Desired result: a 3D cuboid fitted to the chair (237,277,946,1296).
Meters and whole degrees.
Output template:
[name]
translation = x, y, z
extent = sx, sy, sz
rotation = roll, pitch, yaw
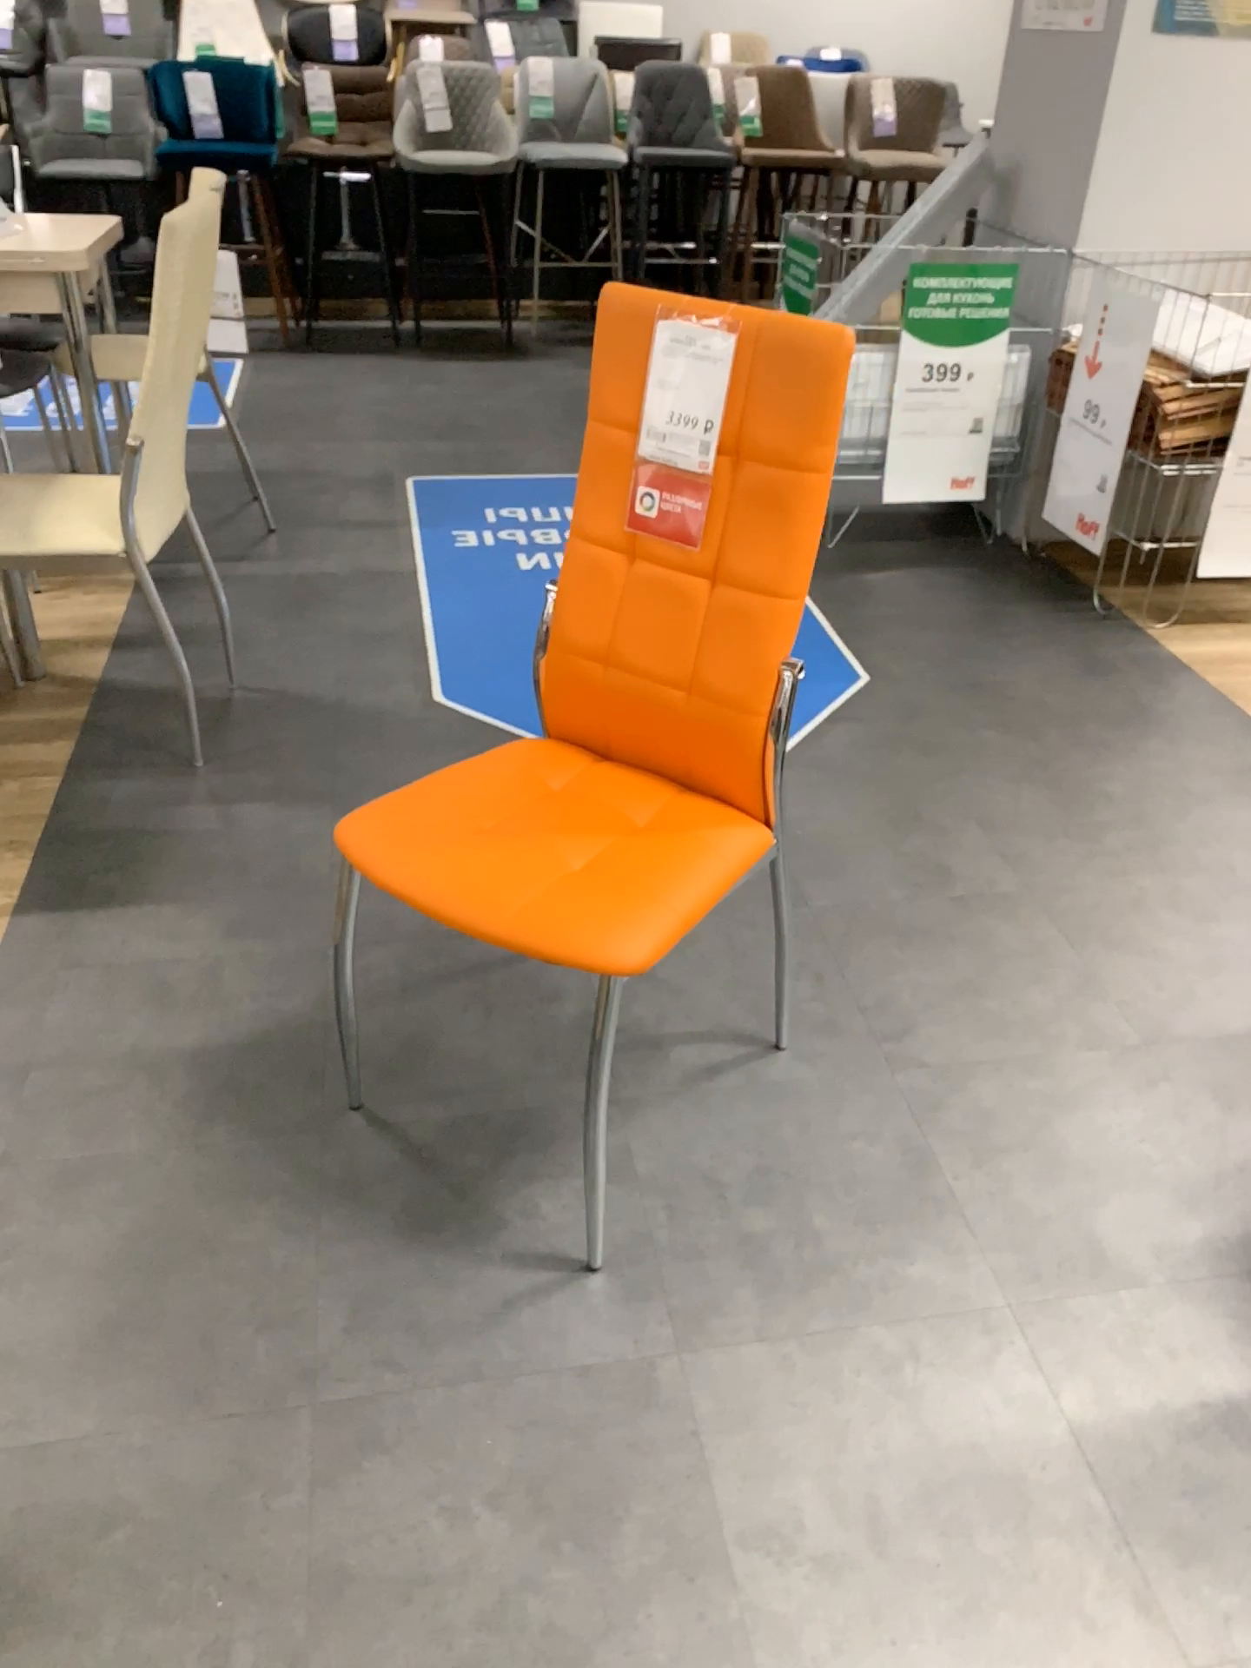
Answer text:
[chair]
translation = -0.039, -0.075, 1.572
extent = 0.491, 1.014, 0.542
rotation = 24, 38, 30
